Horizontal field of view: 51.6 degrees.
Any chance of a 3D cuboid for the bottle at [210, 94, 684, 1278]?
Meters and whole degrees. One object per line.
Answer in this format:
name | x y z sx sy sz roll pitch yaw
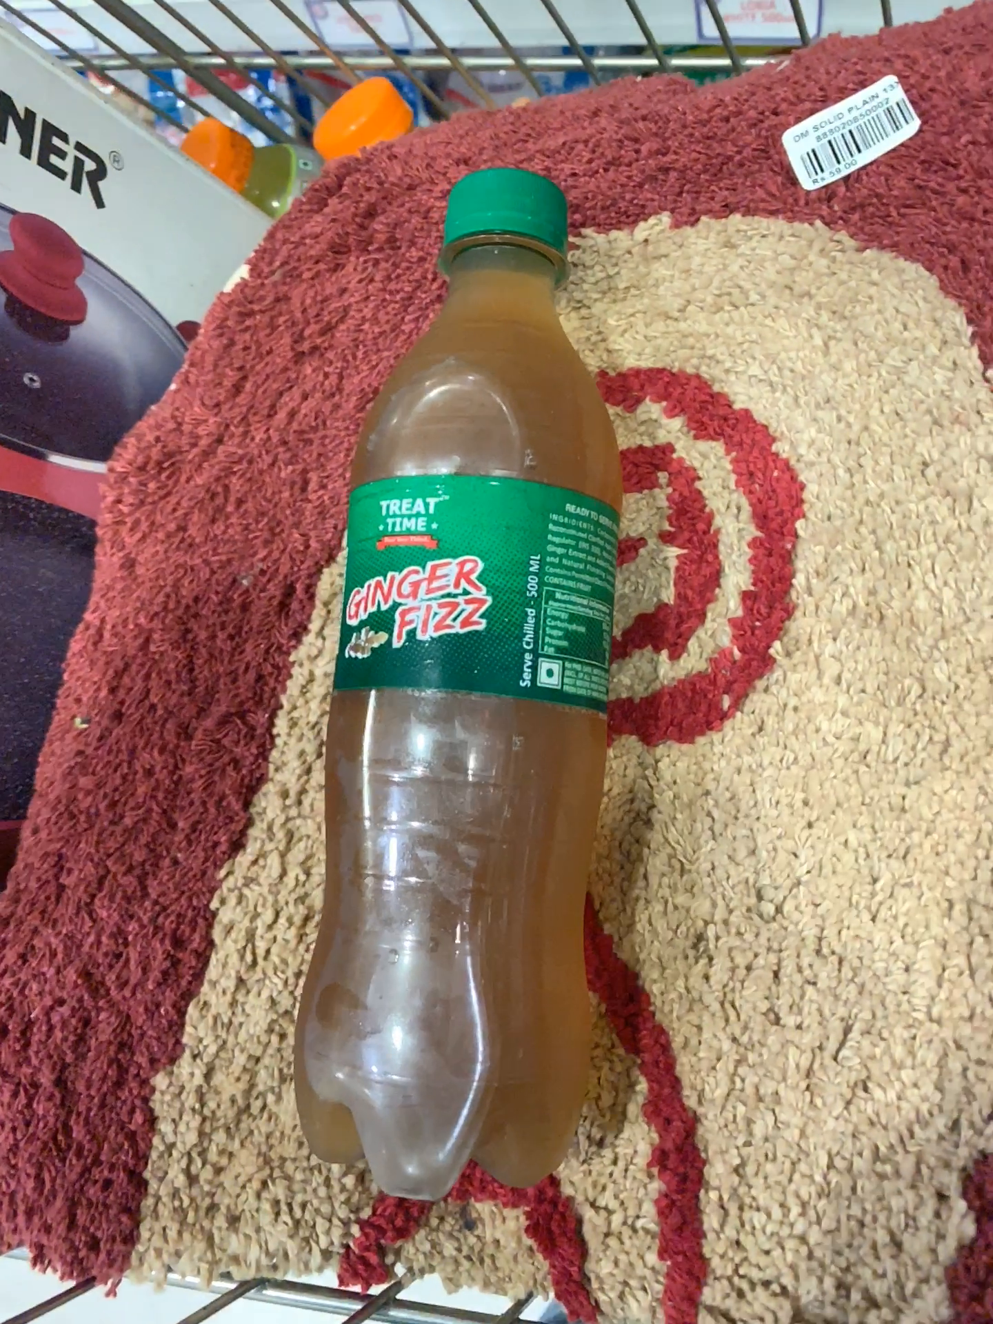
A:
bottle | -0.005 0.002 0.235 0.070 0.070 0.220 3 86 21
